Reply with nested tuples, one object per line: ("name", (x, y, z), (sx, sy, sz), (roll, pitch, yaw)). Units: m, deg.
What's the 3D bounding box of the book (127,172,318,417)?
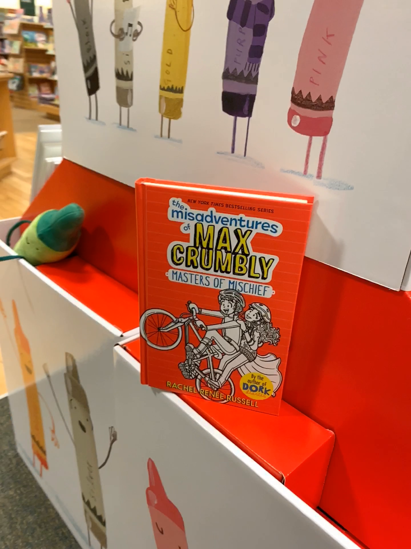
("book", (0.007, 0.023, 0.369), (0.142, 0.201, 0.031), (9, 28, 10))
